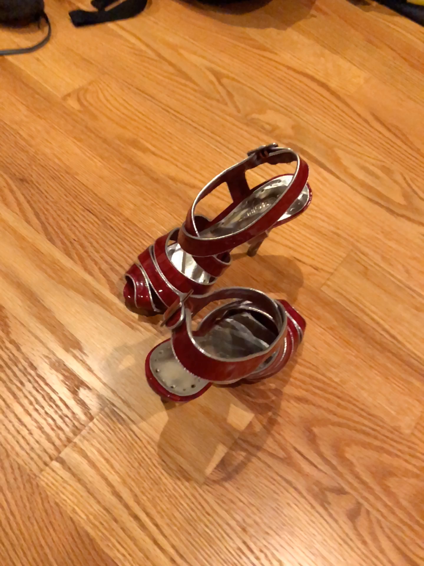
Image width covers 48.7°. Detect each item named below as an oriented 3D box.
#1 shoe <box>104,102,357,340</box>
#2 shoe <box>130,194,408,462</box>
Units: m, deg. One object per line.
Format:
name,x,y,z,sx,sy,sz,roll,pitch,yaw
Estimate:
shoe,0.010,-0.058,0.453,0.199,0.151,0.092,-27,67,-24
shoe,0.039,0.038,0.398,0.194,0.141,0.092,-30,68,-26
